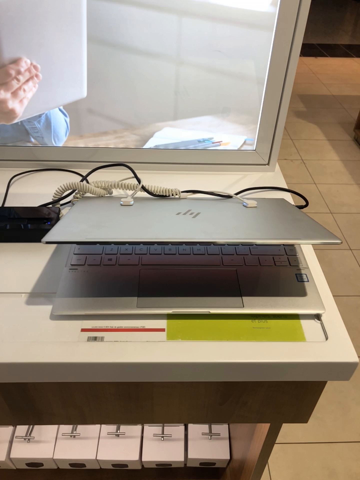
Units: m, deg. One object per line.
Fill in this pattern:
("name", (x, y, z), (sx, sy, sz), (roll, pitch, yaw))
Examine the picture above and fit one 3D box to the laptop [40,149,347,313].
("laptop", (0.011, -0.021, 0.488), (0.298, 0.078, 0.212), (1, 41, -2))
